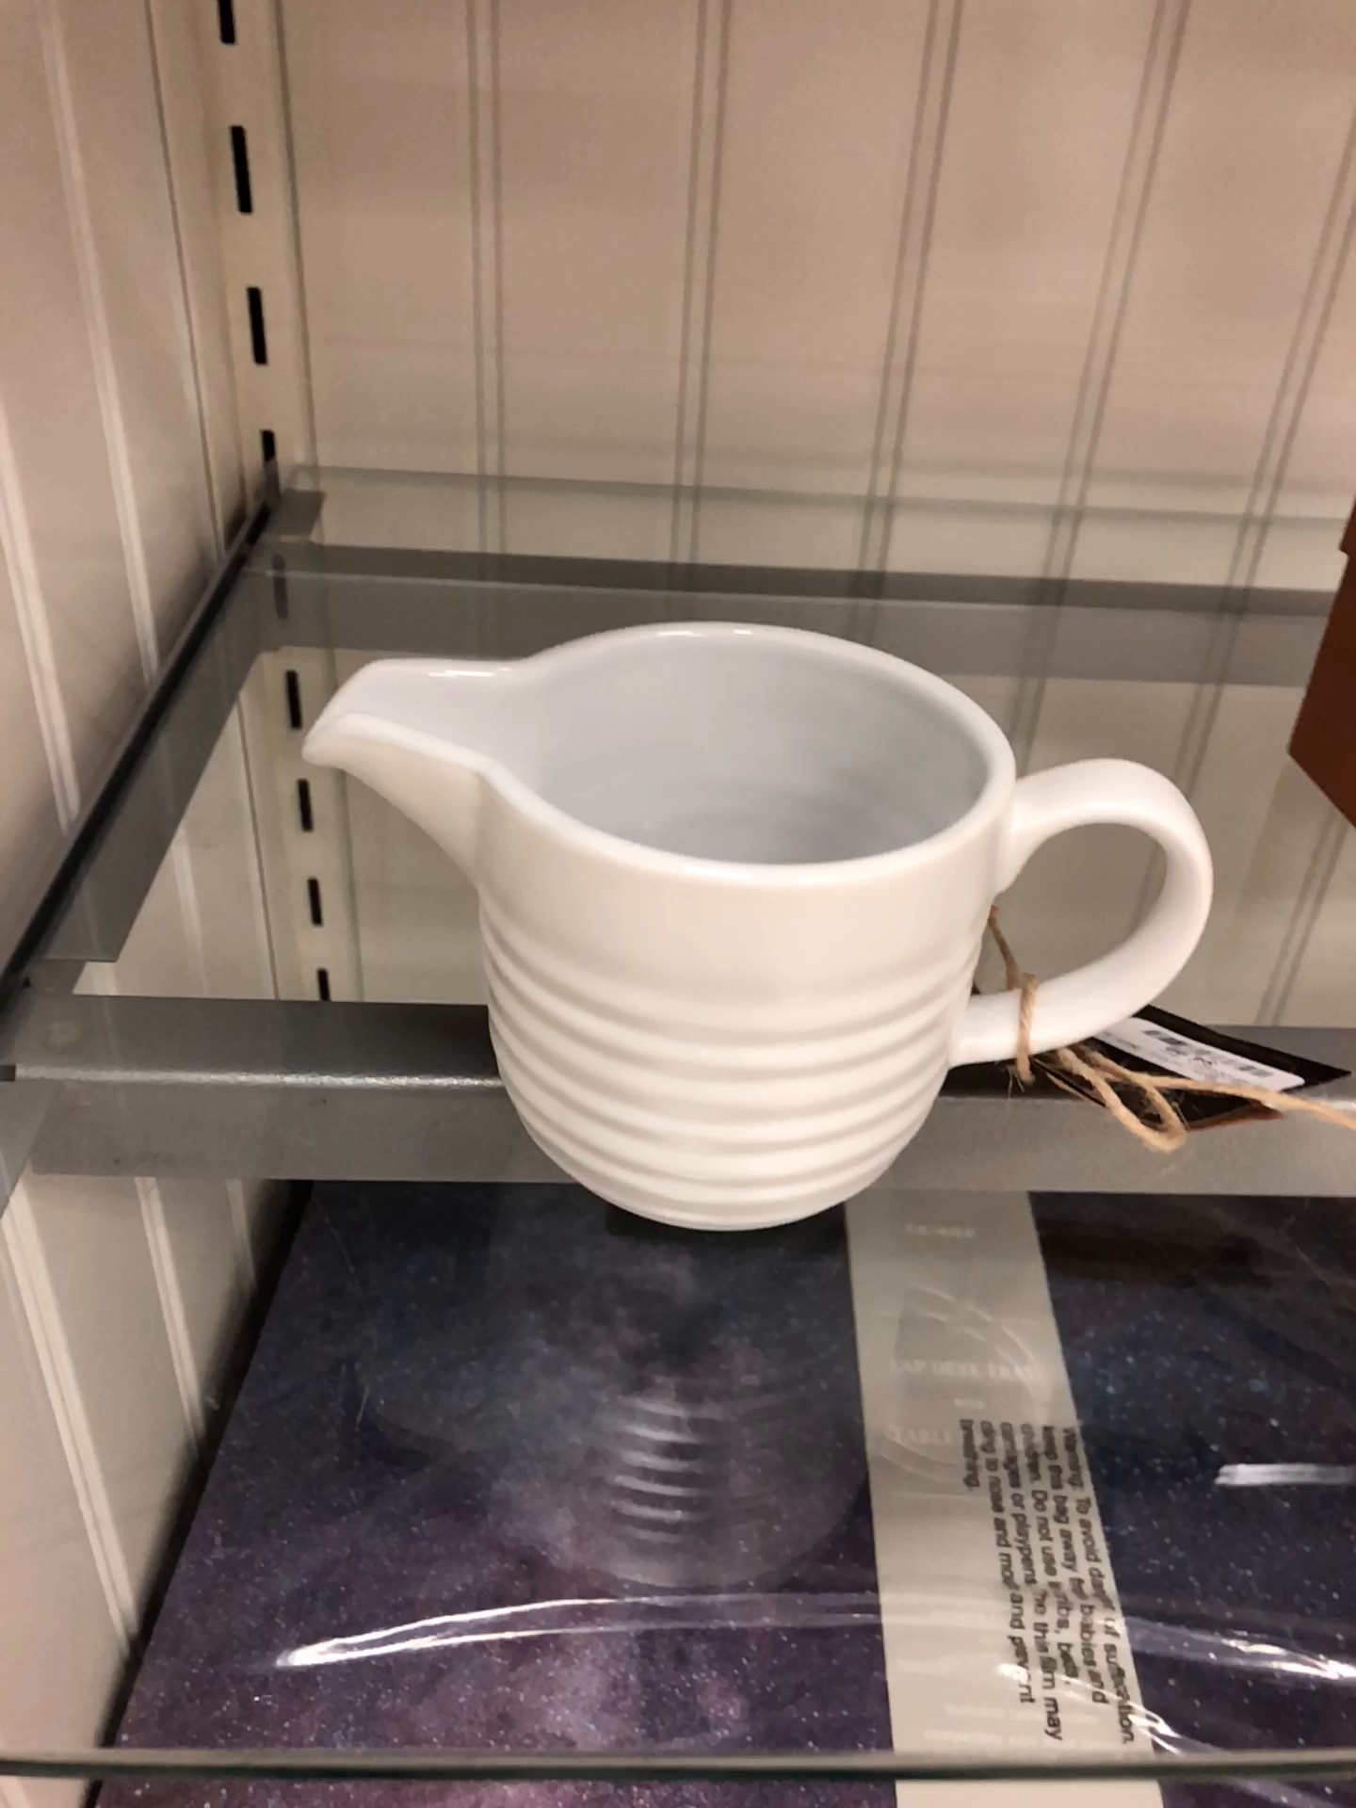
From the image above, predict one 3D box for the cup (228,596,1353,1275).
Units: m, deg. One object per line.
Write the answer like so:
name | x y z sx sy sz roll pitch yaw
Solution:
cup | 0.013 0.003 0.236 0.140 0.069 0.071 3 35 -1
